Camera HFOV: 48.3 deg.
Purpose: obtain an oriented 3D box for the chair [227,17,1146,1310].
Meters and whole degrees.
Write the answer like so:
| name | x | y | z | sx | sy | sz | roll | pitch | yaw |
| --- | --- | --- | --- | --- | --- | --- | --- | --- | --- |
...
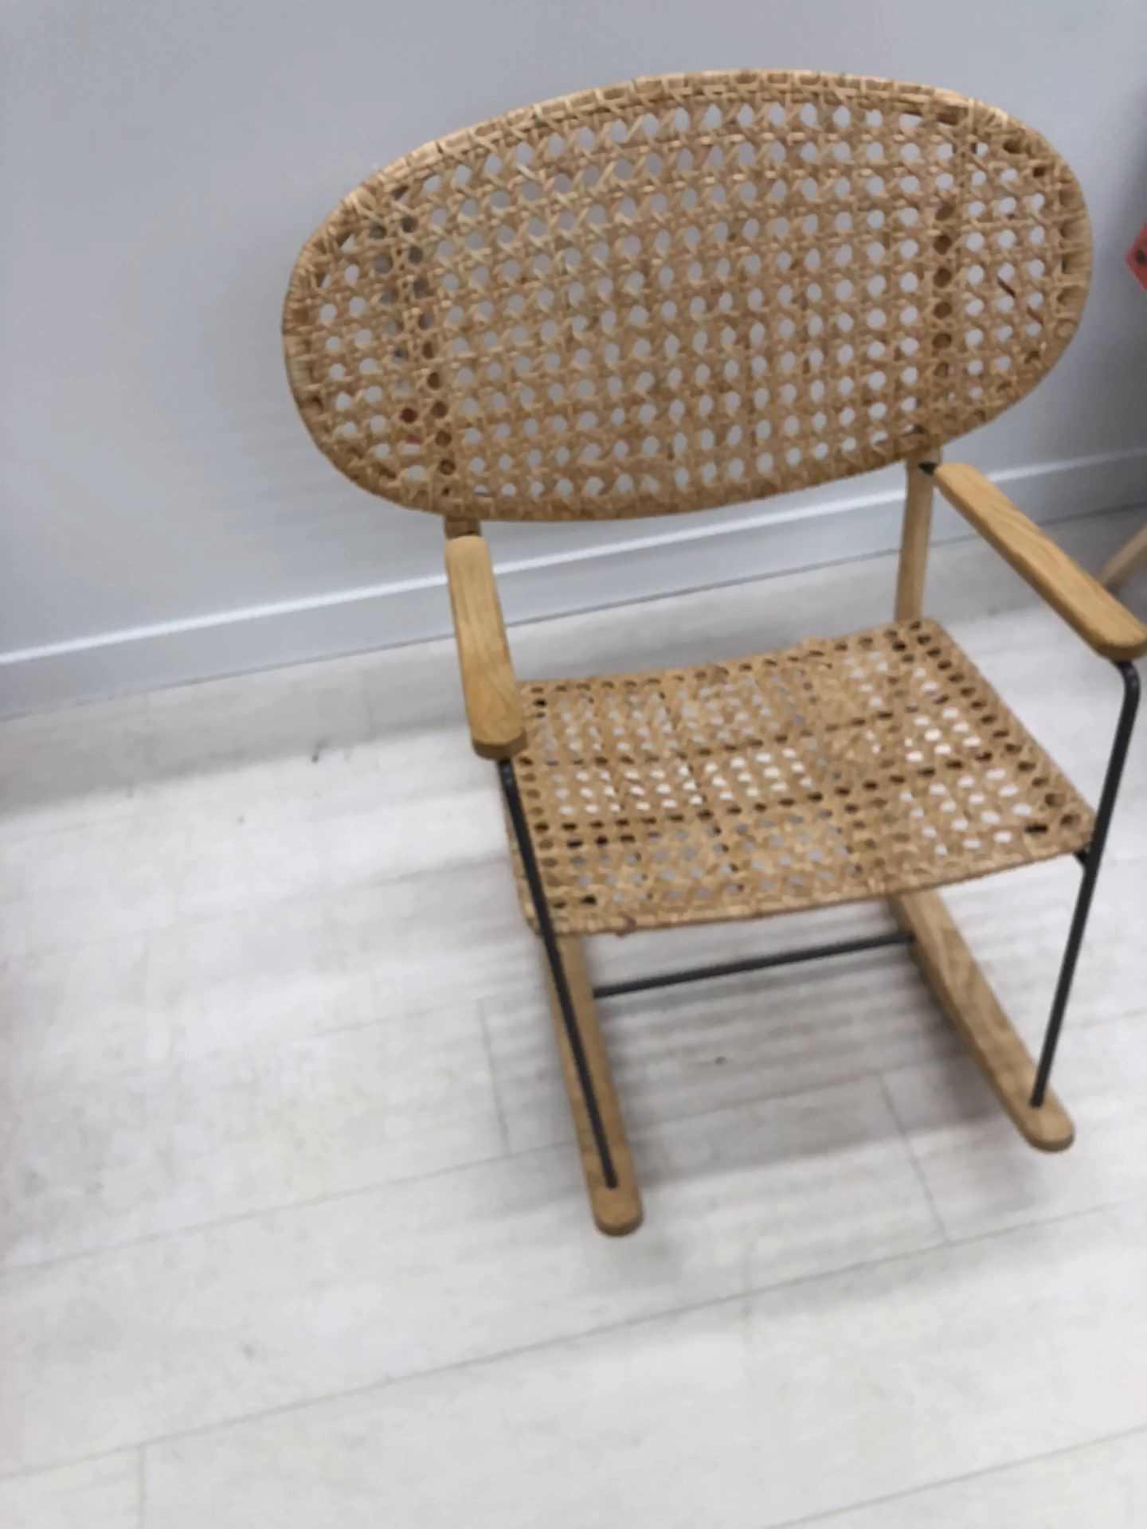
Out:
| name | x | y | z | sx | sy | sz | roll | pitch | yaw |
| --- | --- | --- | --- | --- | --- | --- | --- | --- | --- |
| chair | 0.176 | -0.106 | 1.269 | 0.830 | 0.787 | 0.853 | -10 | 49 | -5 |
